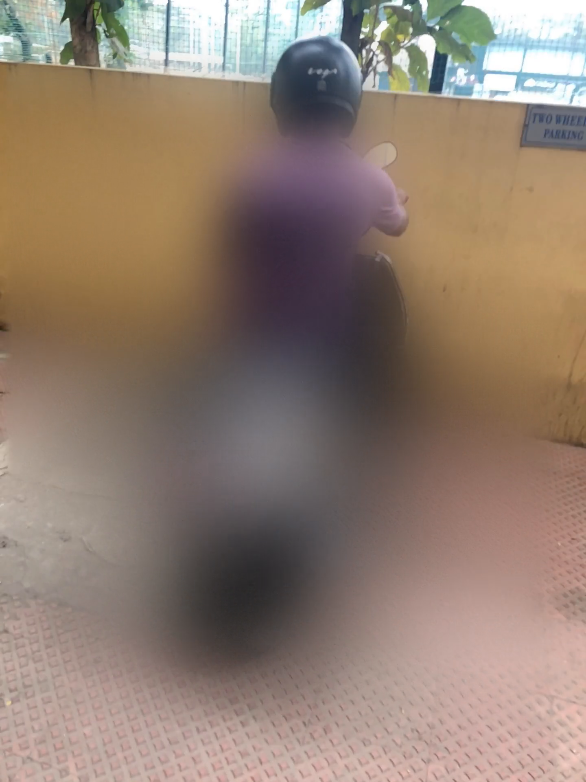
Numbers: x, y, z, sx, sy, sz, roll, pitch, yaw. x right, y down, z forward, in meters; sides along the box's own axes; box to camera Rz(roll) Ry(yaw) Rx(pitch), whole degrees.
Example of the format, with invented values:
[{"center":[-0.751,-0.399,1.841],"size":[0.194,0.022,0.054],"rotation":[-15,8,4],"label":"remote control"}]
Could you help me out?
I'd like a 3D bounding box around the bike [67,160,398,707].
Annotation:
[{"center":[-0.058,-0.102,2.311],"size":[0.643,1.182,1.724],"rotation":[9,26,9],"label":"bike"}]
